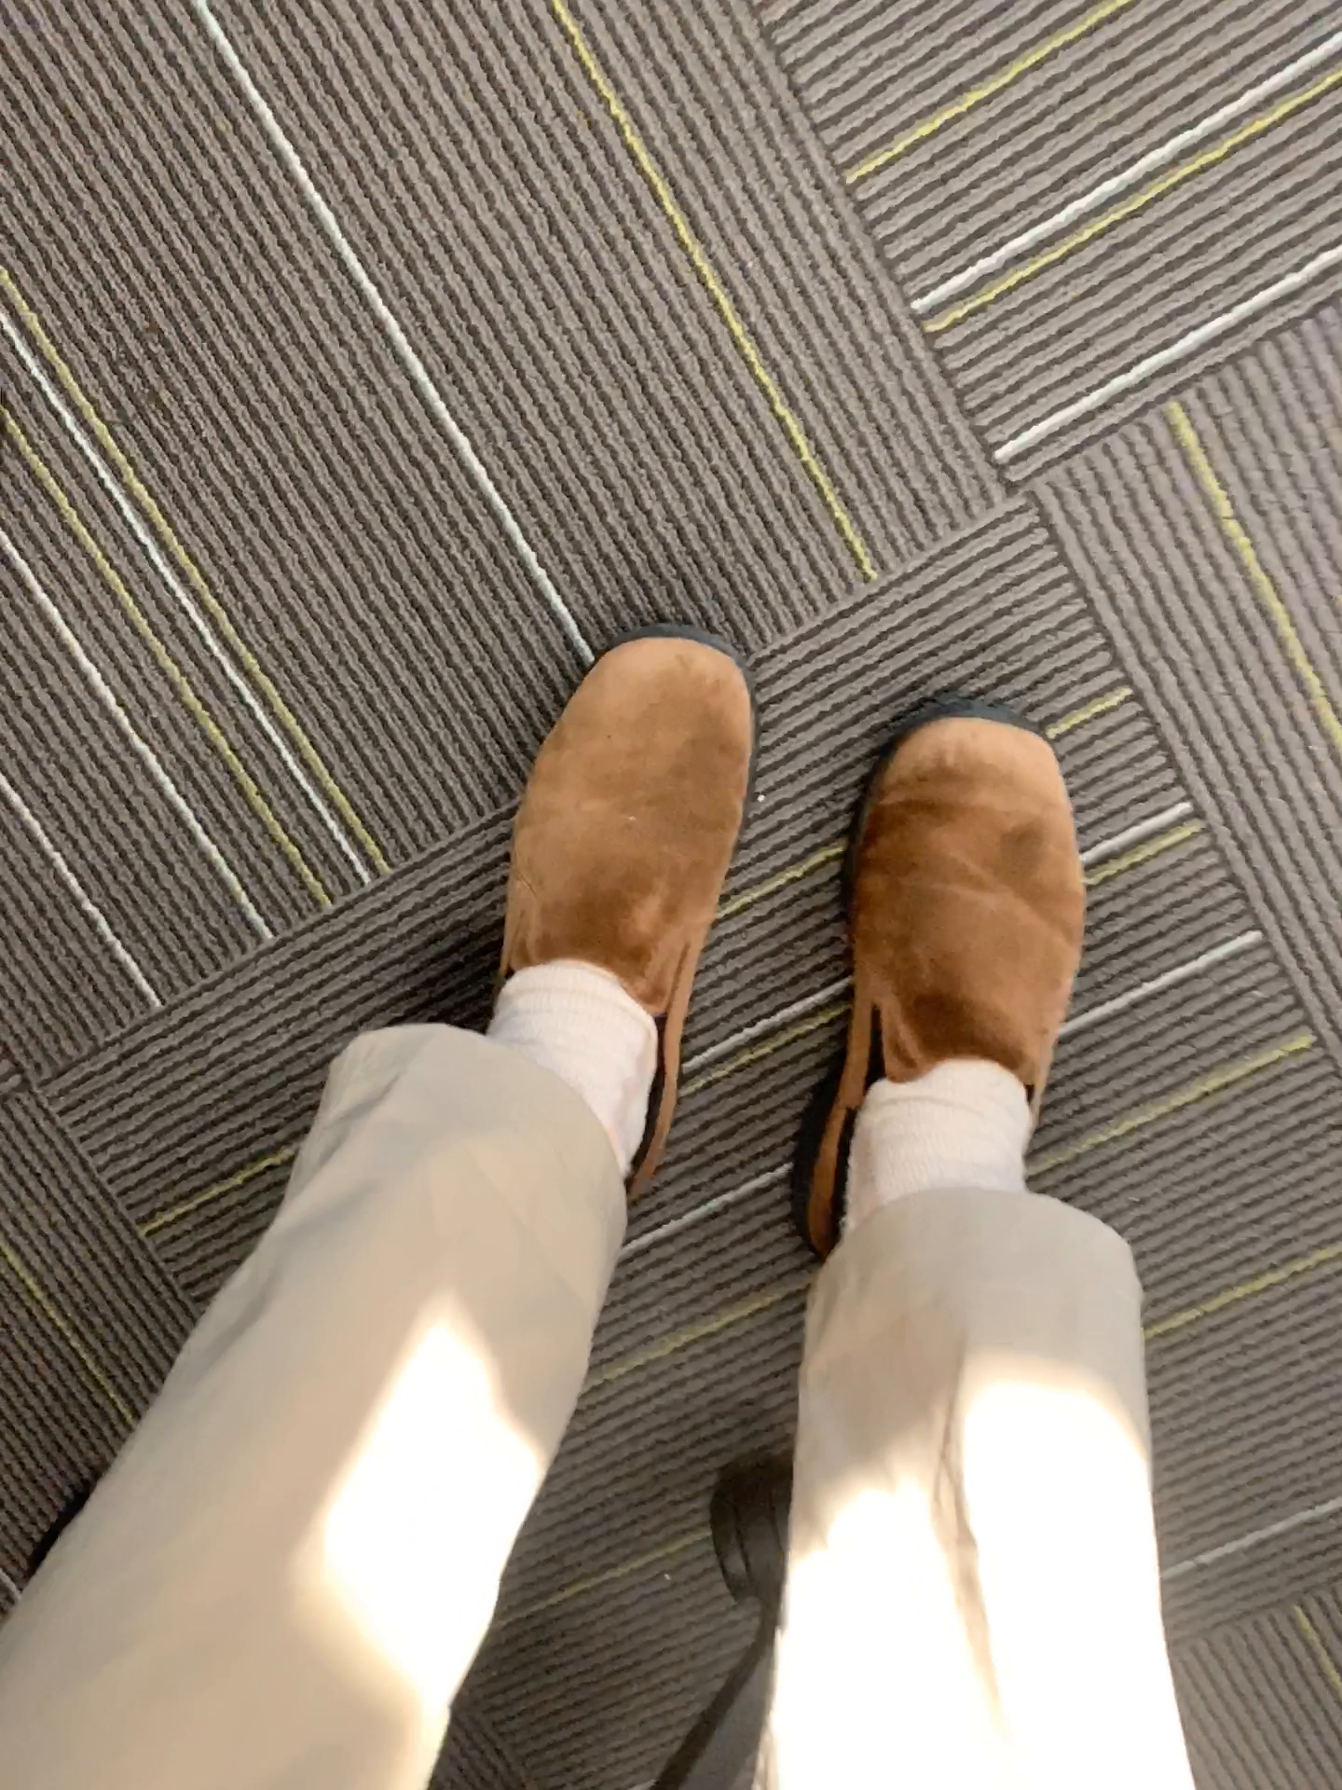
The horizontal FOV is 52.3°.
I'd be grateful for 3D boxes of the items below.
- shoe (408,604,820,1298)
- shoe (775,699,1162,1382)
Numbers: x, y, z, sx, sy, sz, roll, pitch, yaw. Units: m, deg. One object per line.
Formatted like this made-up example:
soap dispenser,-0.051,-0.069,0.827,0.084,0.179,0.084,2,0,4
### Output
shoe,-0.029,0.028,0.664,0.119,0.077,0.308,16,105,2
shoe,0.134,0.070,0.663,0.120,0.077,0.308,9,105,3
